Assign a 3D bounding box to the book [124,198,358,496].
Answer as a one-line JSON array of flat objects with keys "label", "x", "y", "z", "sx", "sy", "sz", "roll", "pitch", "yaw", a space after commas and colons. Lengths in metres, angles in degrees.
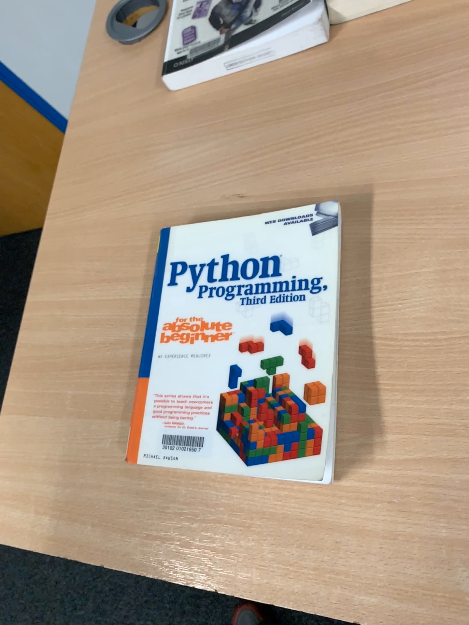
[{"label": "book", "x": 0.008, "y": 0.024, "z": 0.400, "sx": 0.175, "sy": 0.039, "sz": 0.219, "roll": -3, "pitch": 70, "yaw": 27}]
